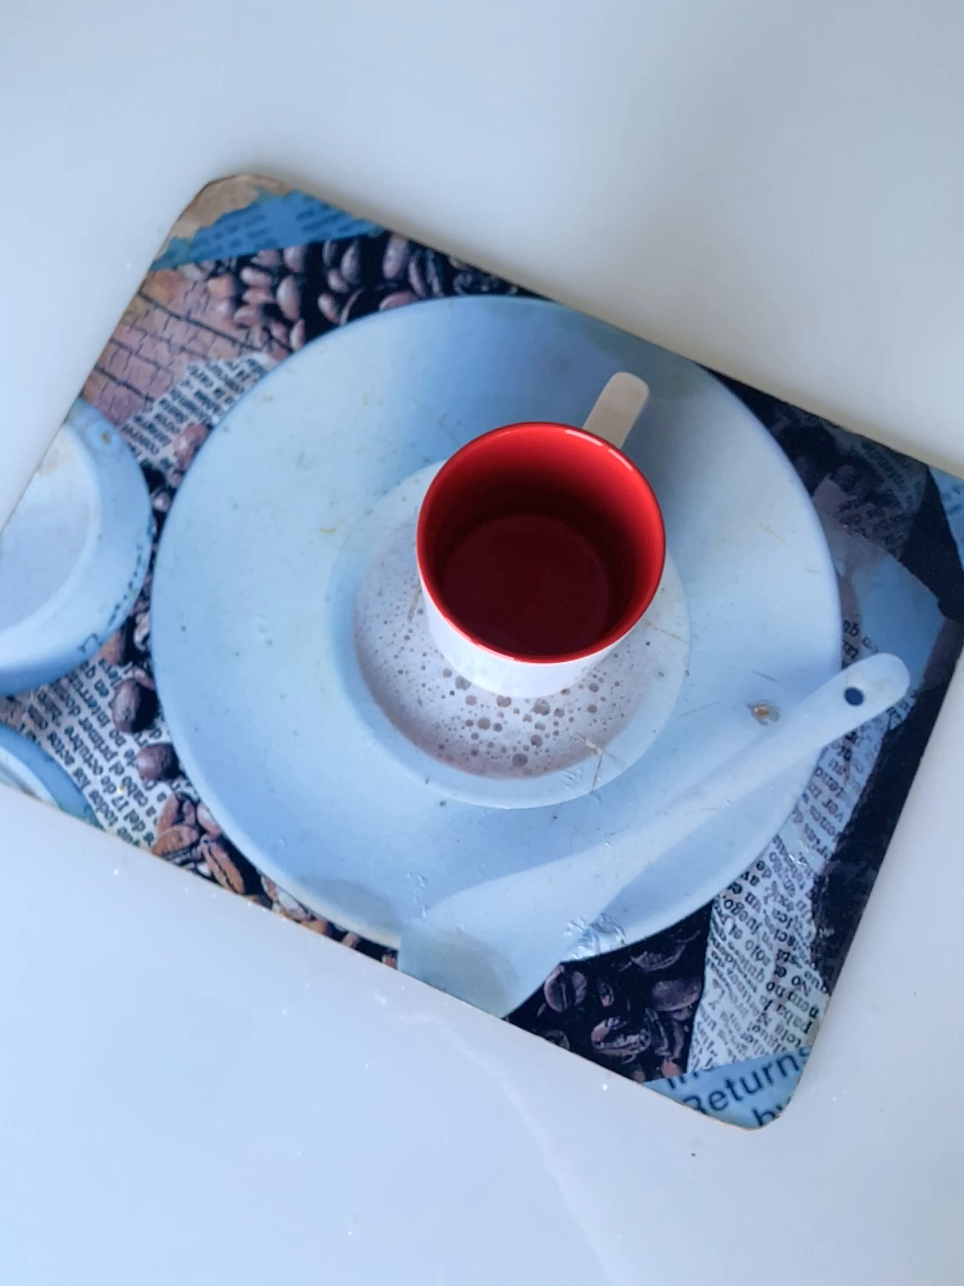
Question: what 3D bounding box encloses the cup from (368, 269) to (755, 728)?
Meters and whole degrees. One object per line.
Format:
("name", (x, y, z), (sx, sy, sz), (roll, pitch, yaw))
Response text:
("cup", (0.025, -0.043, 0.366), (0.077, 0.115, 0.117), (27, 81, 3))
